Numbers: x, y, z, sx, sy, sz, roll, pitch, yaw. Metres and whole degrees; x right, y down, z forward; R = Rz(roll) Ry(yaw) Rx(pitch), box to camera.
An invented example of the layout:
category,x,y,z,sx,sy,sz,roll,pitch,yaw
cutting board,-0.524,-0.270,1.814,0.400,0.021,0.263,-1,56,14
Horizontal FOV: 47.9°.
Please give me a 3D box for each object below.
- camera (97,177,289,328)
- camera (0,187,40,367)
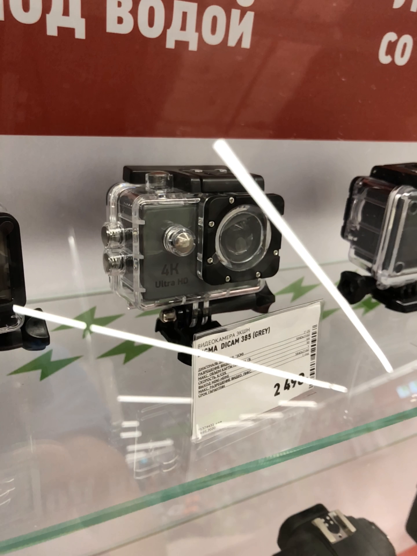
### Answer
category,x,y,z,sx,sy,sz,roll,pitch,yaw
camera,-0.009,-0.017,0.229,0.077,0.055,0.048,-8,22,-27
camera,-0.102,-0.005,0.164,0.072,0.046,0.036,-10,20,-30
